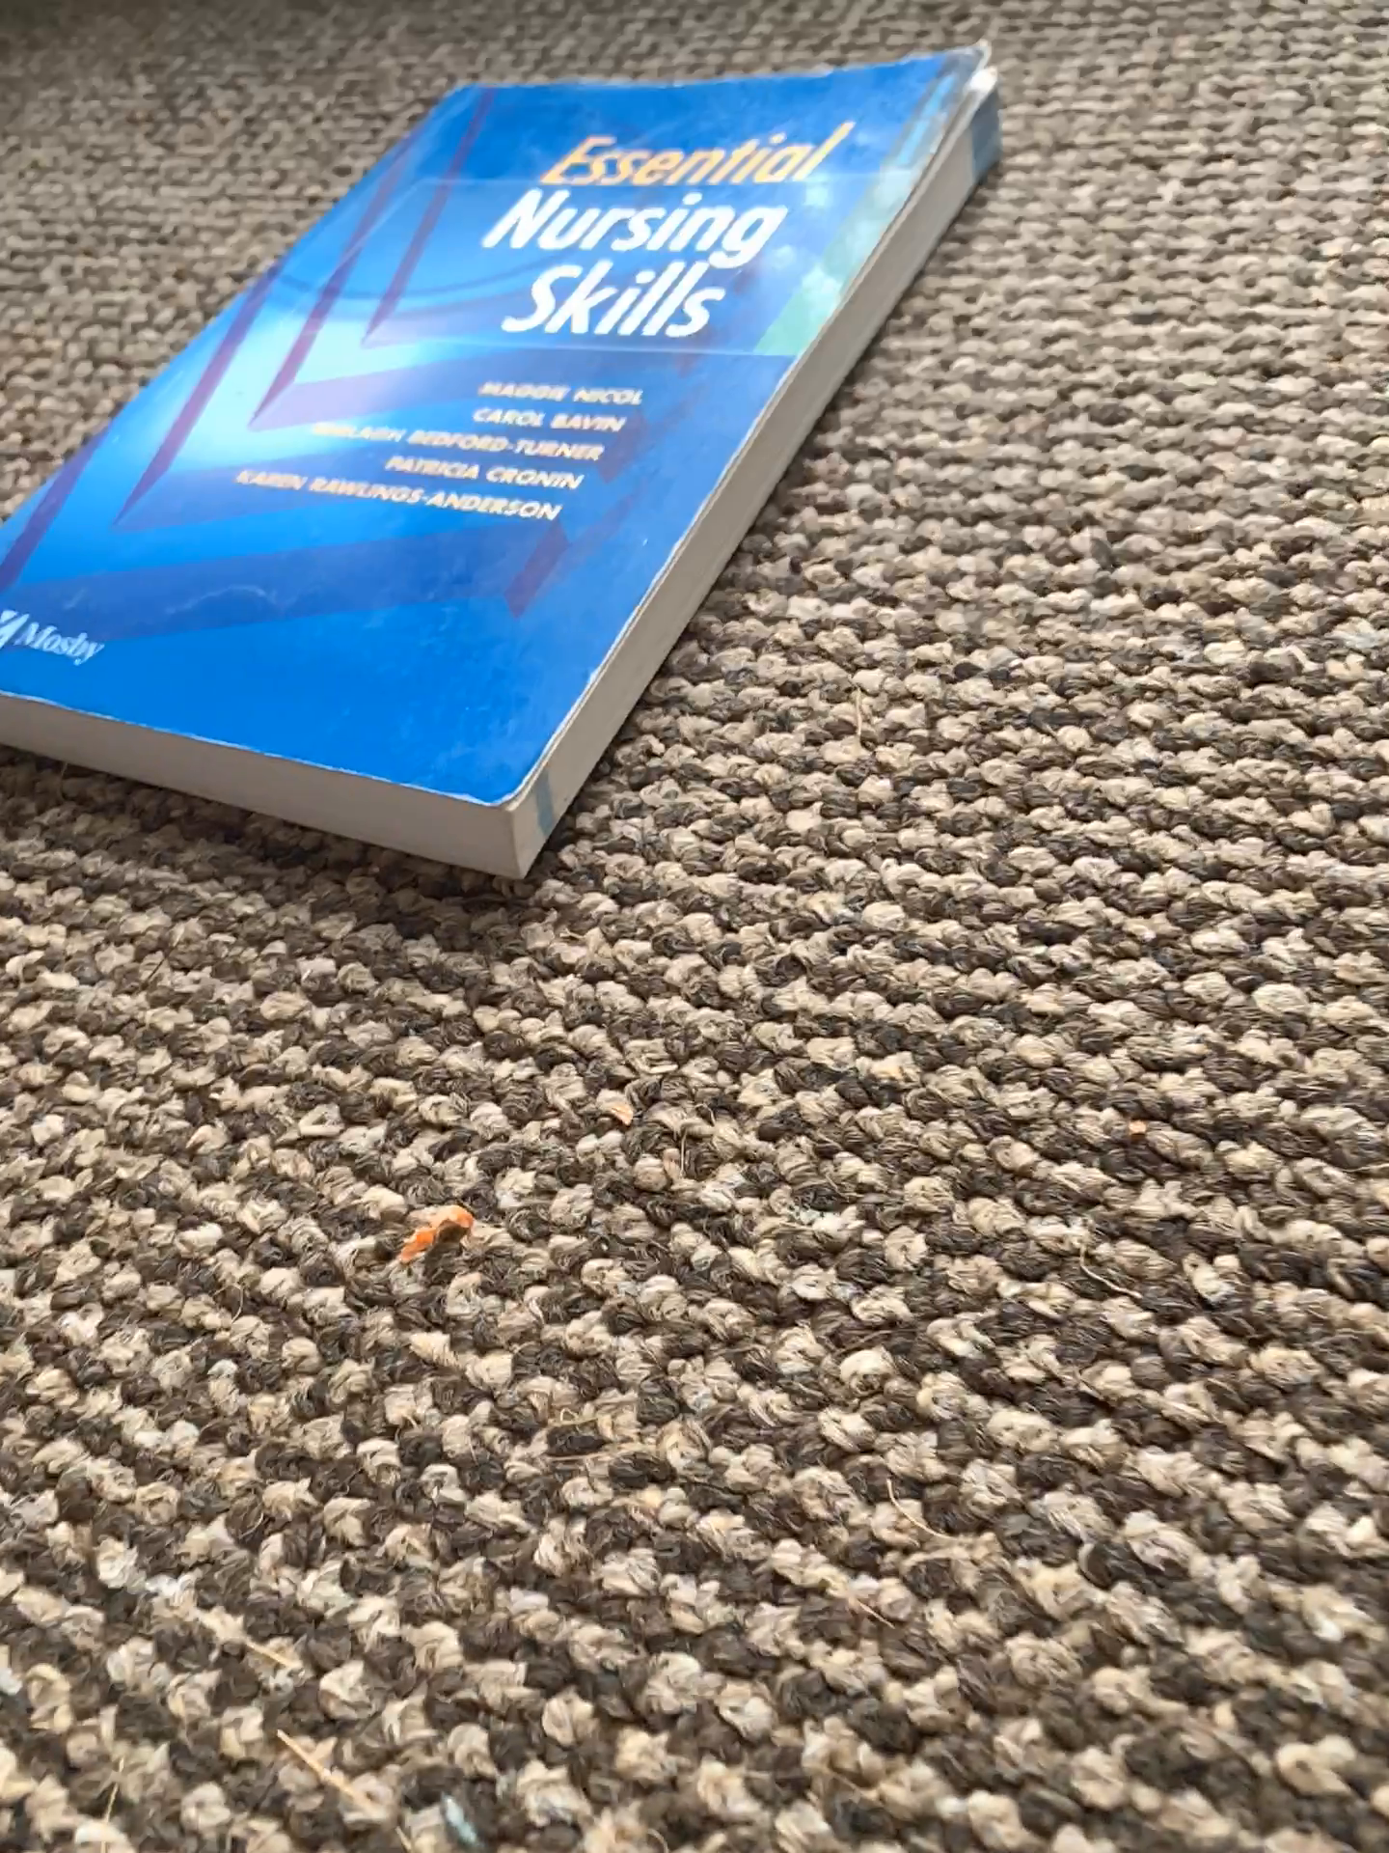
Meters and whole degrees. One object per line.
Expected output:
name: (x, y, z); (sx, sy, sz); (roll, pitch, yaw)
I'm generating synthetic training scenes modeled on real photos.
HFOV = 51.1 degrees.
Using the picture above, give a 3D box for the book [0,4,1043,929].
book: (-0.046, -0.123, 0.319); (0.171, 0.020, 0.251); (14, 60, 26)
